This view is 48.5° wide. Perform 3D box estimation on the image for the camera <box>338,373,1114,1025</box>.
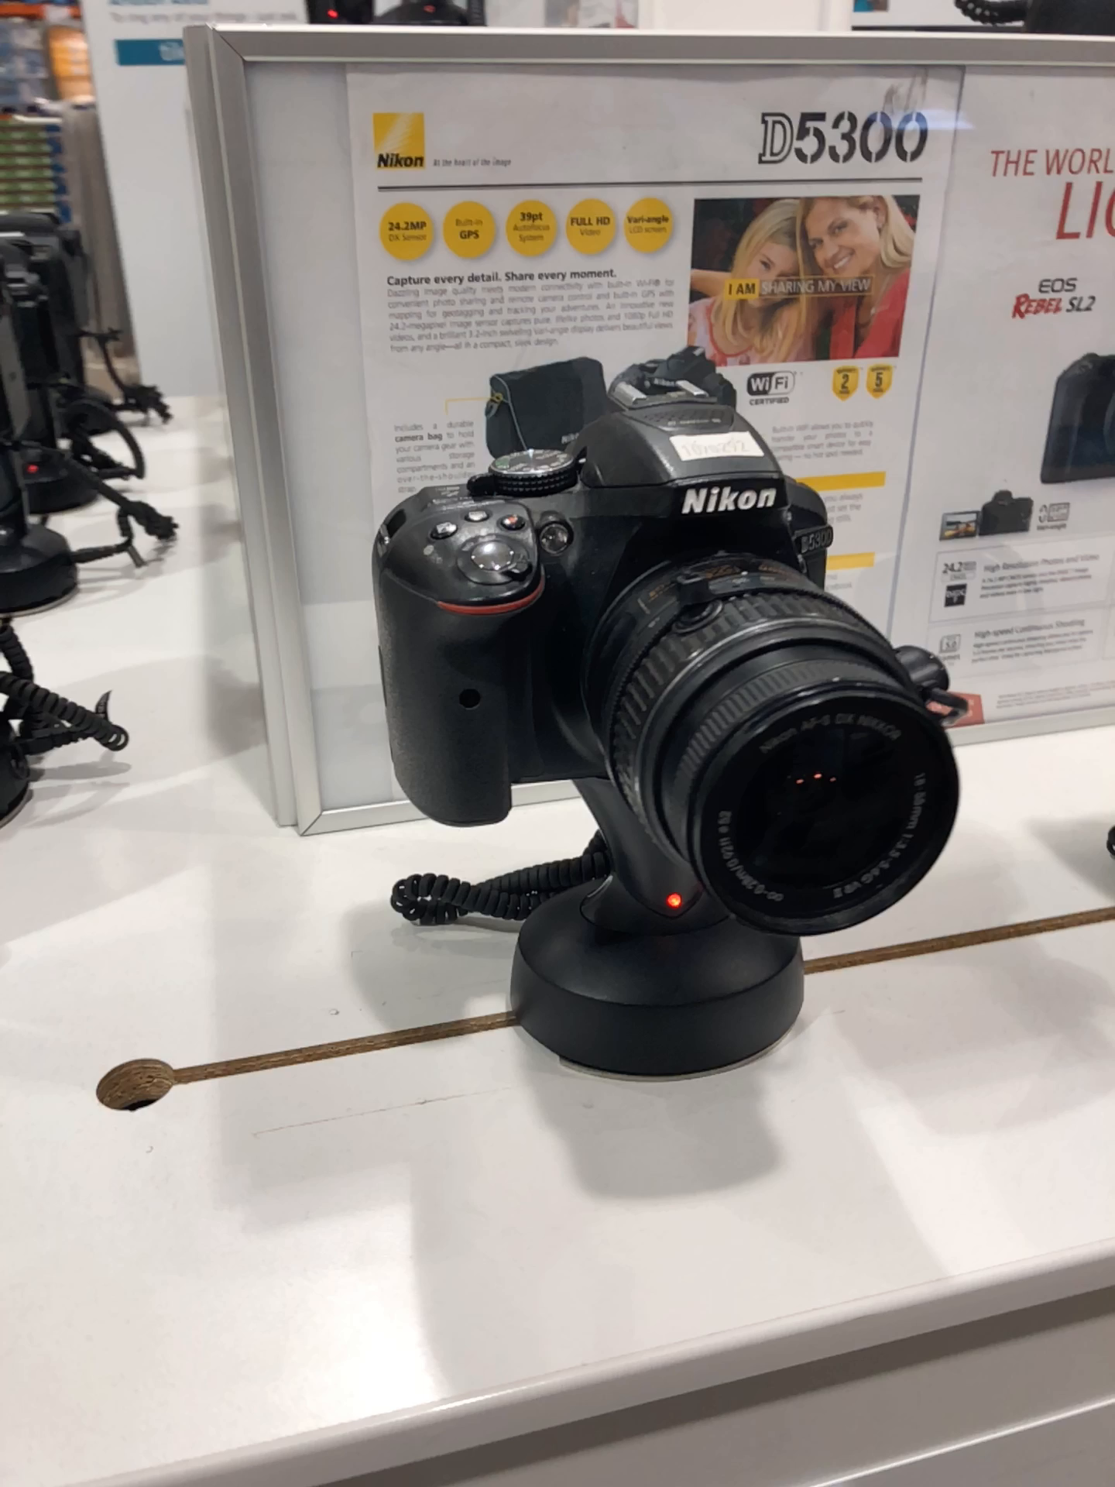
[{"bbox_3d":[0.027,-0.026,0.290,0.130,0.090,0.141,-8,27,-15],"label":"camera"}]
